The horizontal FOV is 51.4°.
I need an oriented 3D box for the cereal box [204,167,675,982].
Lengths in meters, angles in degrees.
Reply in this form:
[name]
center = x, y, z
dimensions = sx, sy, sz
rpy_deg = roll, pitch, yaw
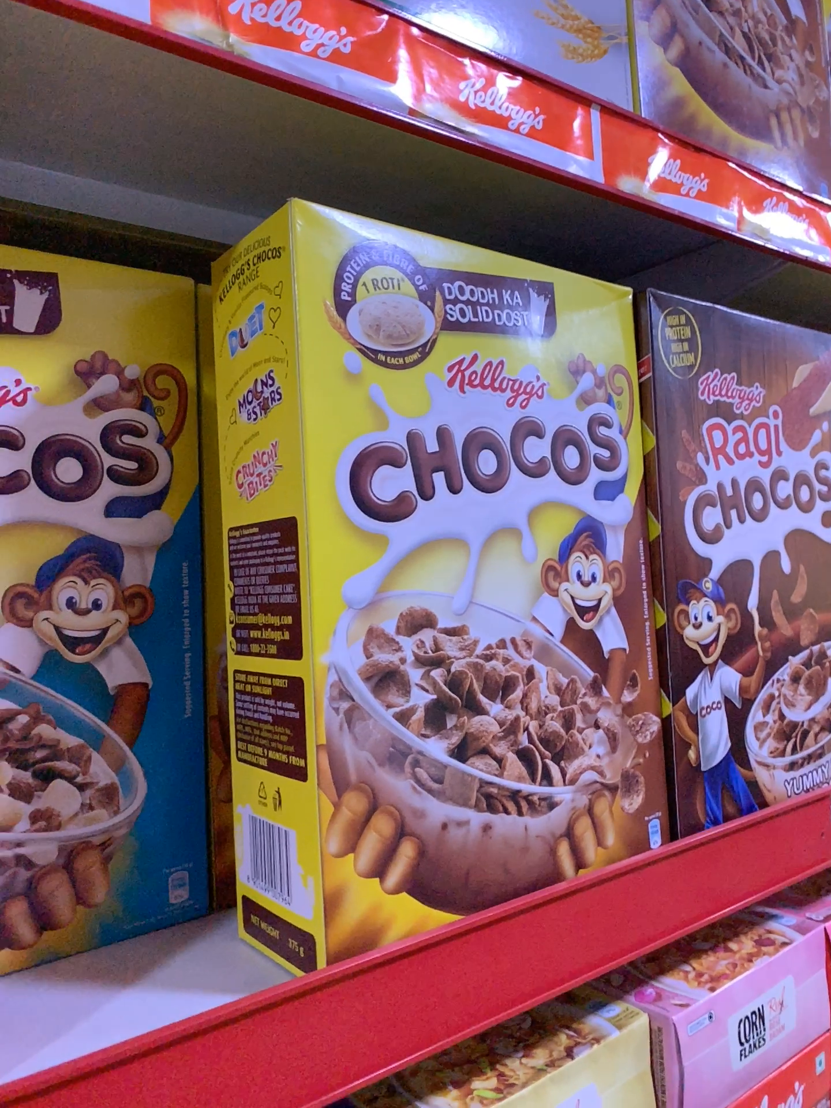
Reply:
[cereal box]
center = 0.015, 0.003, 0.330
dimensions = 0.170, 0.240, 0.060
rpy_deg = -1, -3, -38
